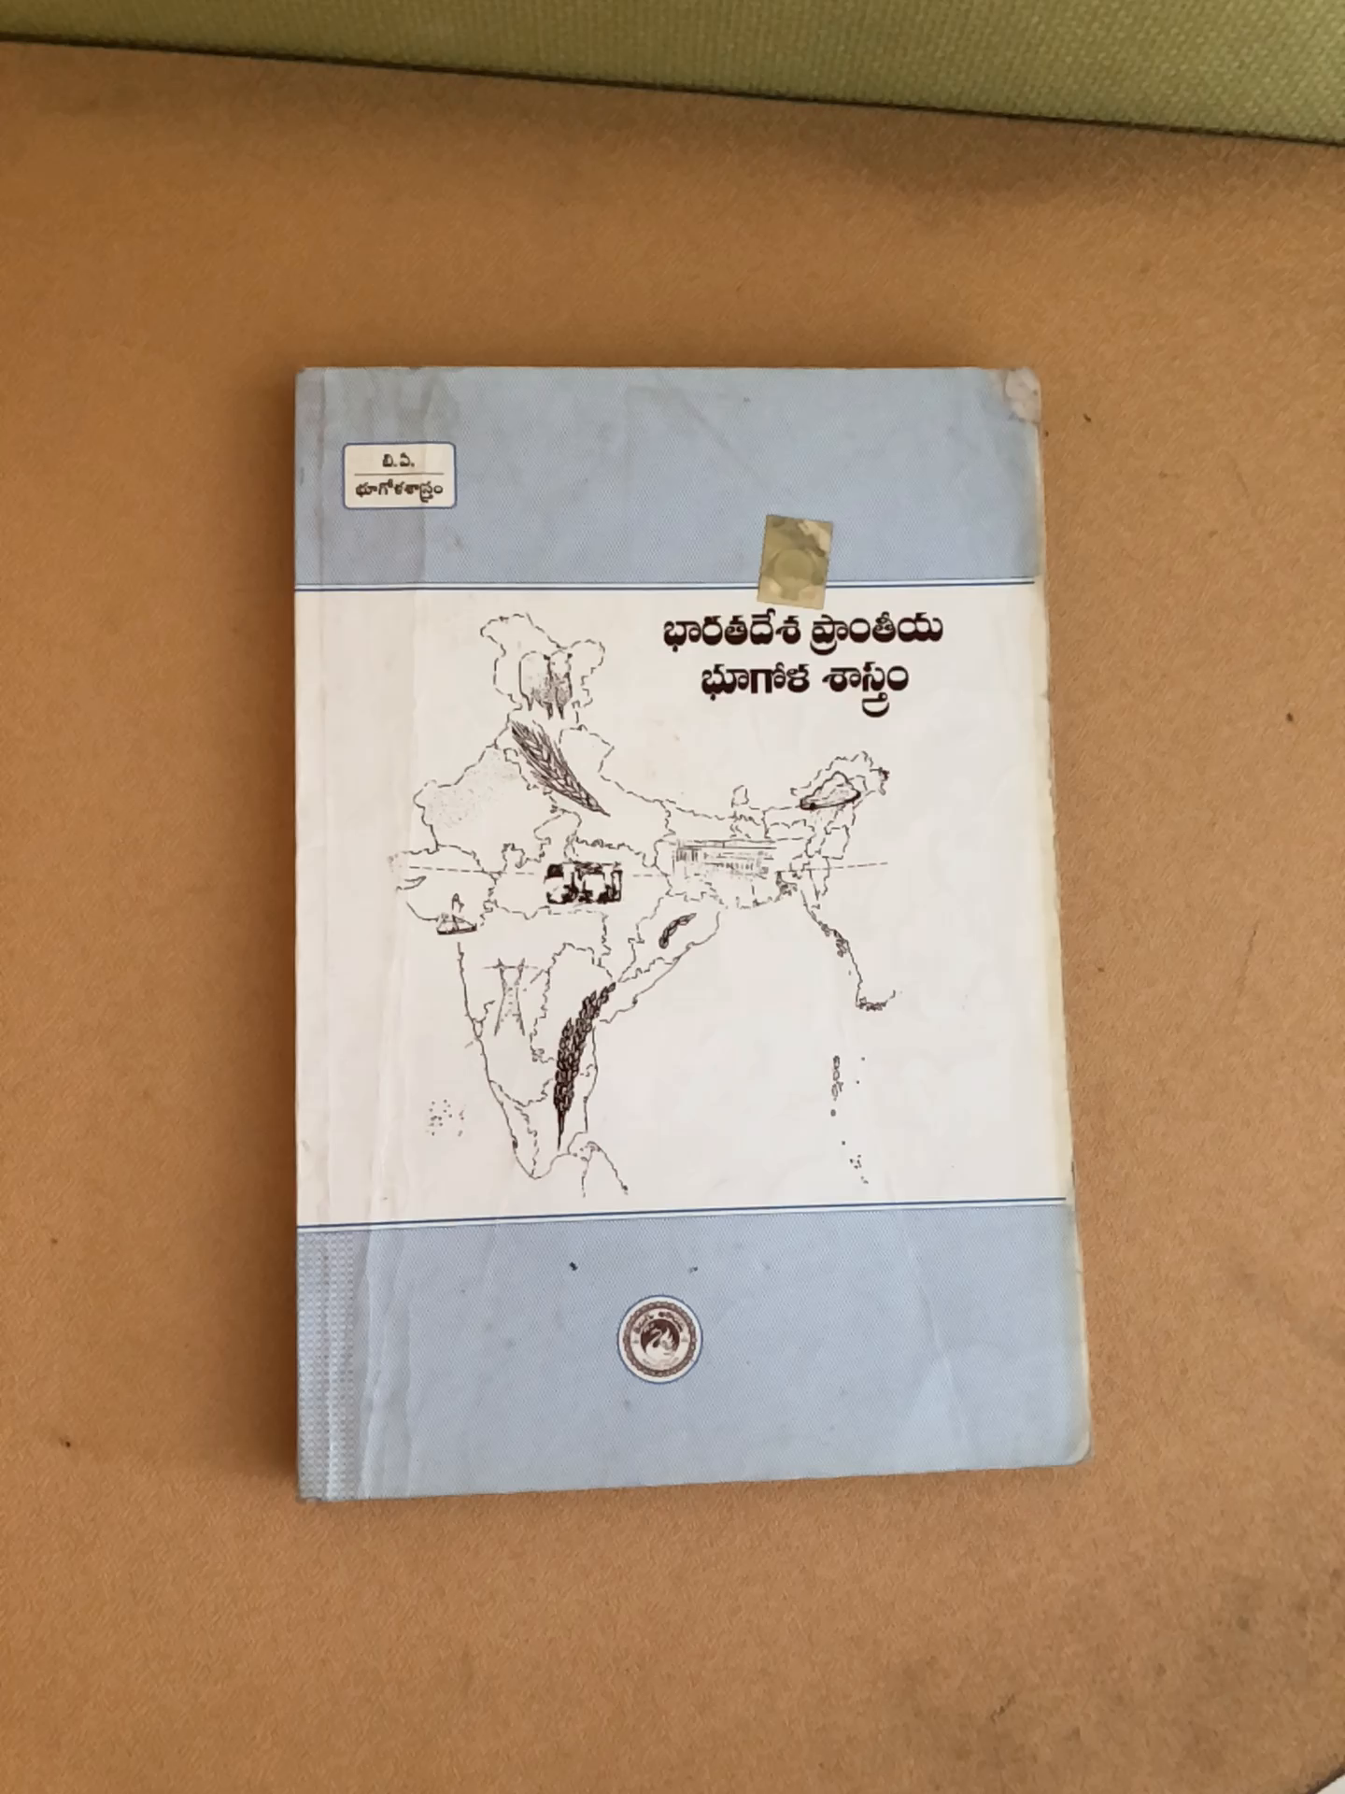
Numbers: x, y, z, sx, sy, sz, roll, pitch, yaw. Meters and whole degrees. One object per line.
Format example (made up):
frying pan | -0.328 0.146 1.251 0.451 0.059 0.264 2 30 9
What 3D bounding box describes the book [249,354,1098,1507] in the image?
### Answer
book | -0.002 0.002 0.342 0.180 0.030 0.250 -1 84 -4
